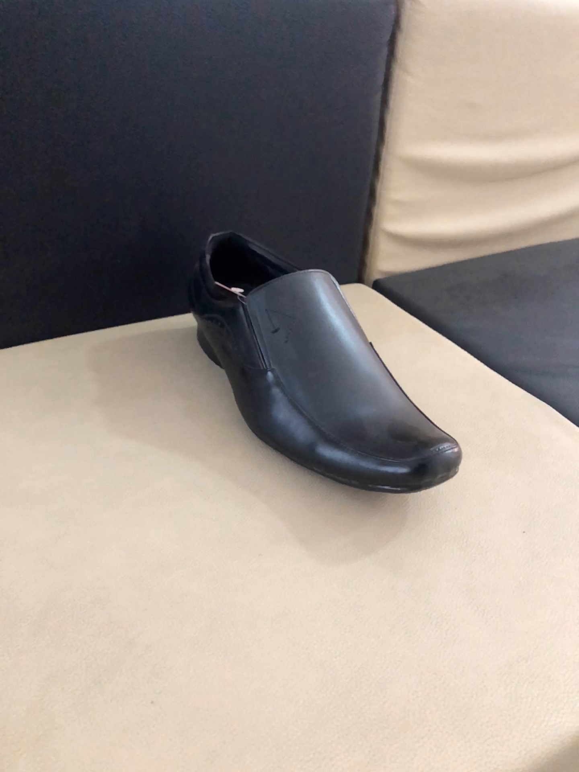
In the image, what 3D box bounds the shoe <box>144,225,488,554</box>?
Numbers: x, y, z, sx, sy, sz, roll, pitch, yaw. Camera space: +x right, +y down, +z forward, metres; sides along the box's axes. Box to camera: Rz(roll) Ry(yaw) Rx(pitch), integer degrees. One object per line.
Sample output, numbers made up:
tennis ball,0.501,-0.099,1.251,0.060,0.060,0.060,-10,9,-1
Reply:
shoe,-0.004,-0.021,0.463,0.090,0.090,0.281,-18,39,-29
